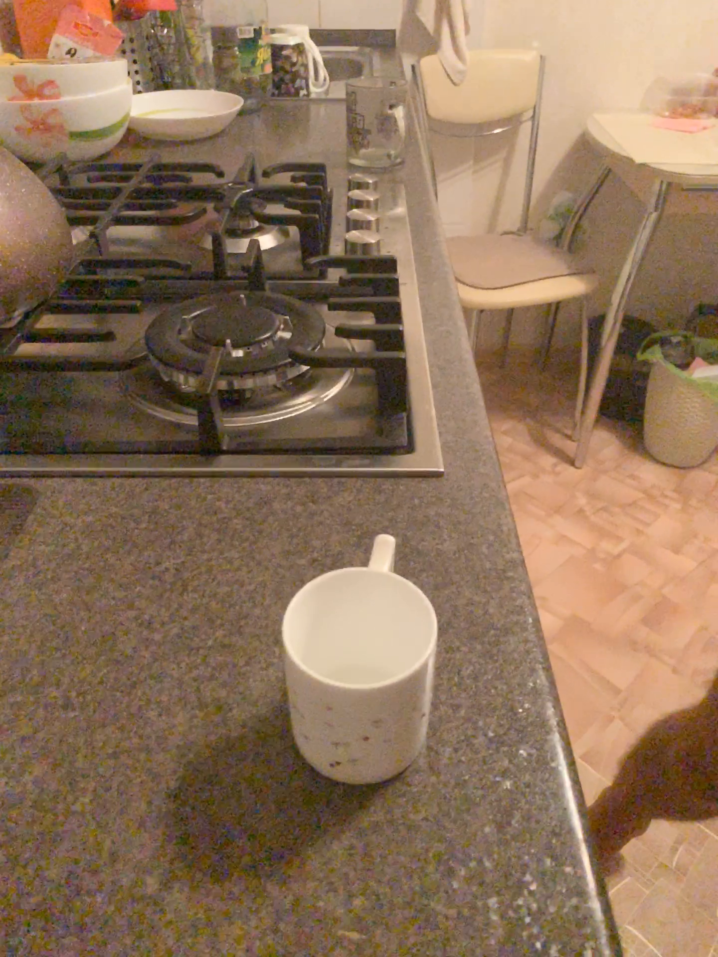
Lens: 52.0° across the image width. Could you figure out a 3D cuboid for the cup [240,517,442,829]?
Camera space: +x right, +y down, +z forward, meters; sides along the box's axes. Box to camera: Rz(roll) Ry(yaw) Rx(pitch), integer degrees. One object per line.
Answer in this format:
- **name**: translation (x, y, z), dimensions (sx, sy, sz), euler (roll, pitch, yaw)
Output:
- **cup**: translation (-0.002, 0.074, 0.296), dimensions (0.060, 0.069, 0.091), euler (6, 37, 8)
